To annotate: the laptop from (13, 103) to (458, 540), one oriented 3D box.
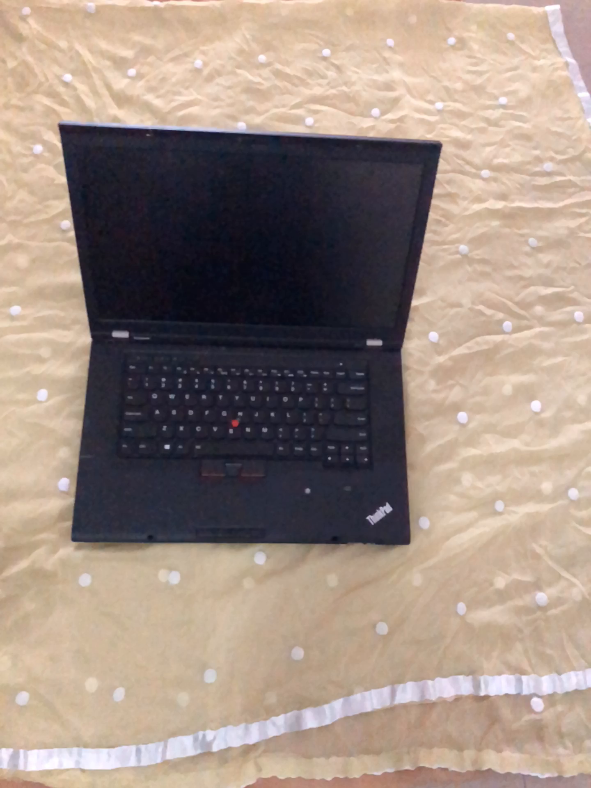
[{"bbox_3d":[-0.050,-0.055,0.671,0.363,0.191,0.381,1,75,-4],"label":"laptop"}]
